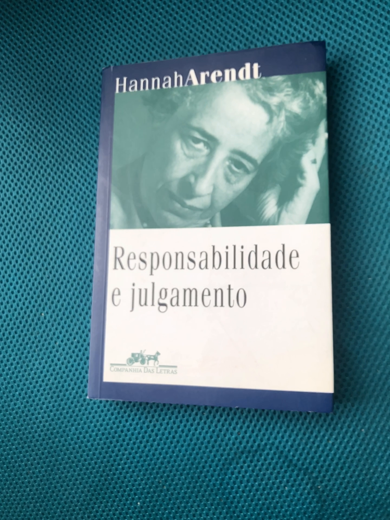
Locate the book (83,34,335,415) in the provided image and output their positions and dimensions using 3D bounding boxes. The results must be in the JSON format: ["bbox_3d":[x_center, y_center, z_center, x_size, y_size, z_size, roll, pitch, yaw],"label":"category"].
[{"bbox_3d":[0.009,-0.022,0.270,0.141,0.035,0.209,-1,83,14],"label":"book"}]
